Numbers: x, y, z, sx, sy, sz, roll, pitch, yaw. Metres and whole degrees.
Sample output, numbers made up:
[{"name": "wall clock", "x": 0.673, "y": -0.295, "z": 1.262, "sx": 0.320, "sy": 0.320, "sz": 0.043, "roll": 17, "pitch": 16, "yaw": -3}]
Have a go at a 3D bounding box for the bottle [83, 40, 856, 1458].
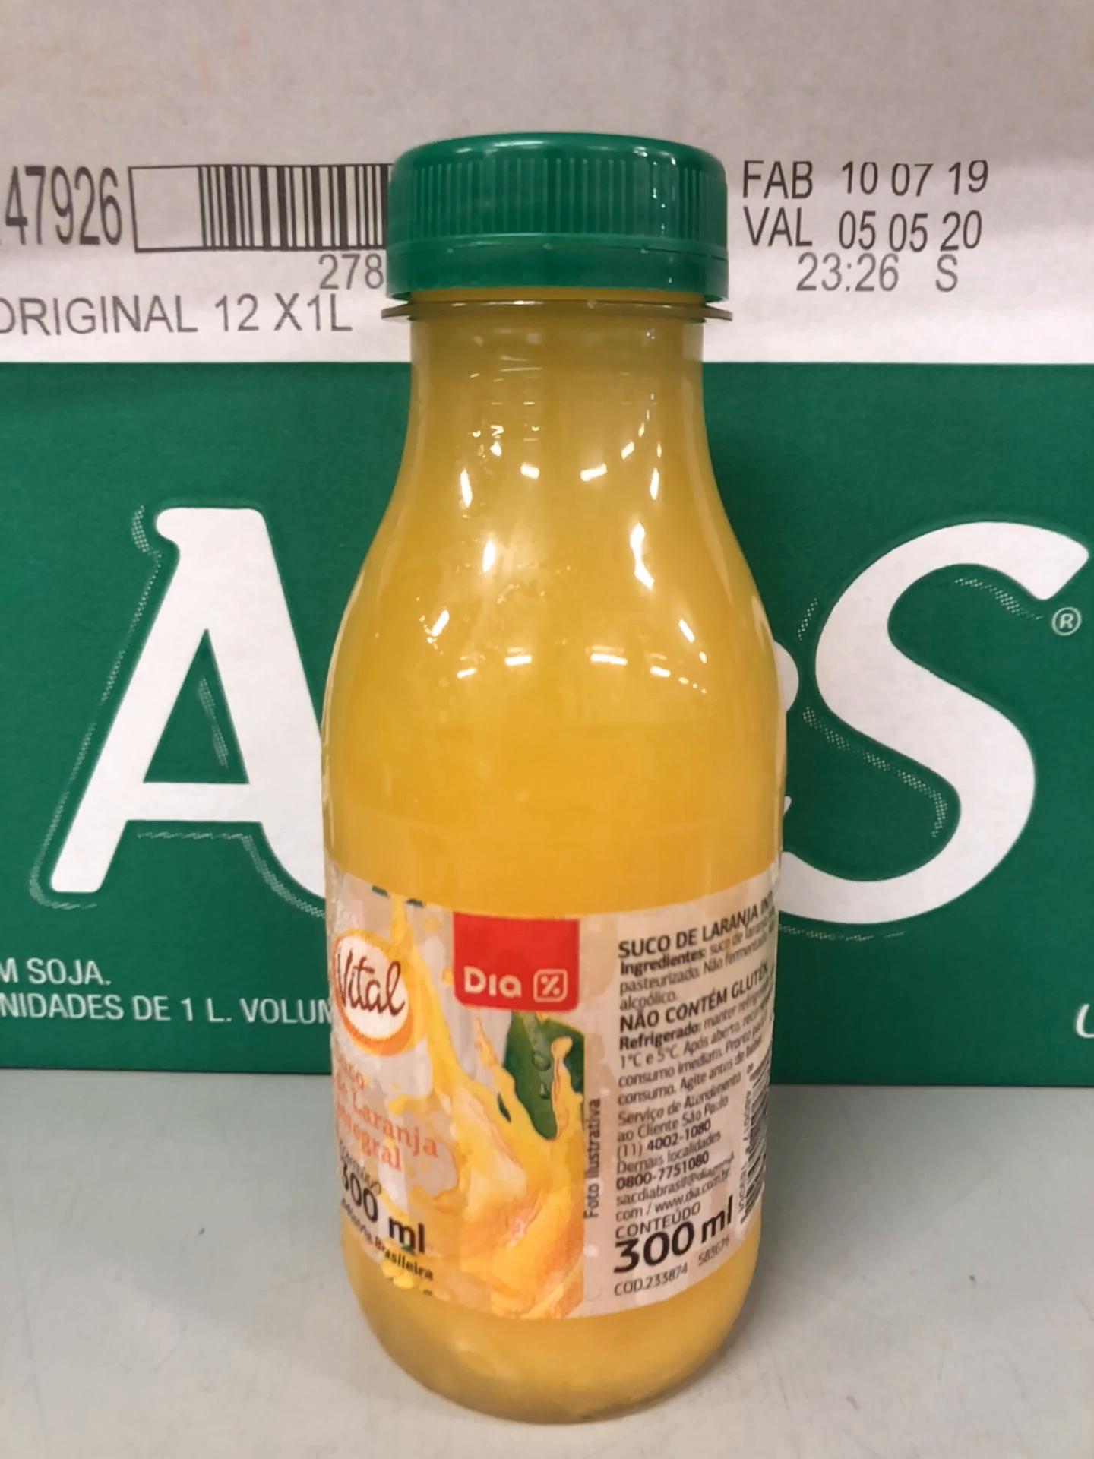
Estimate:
[{"name": "bottle", "x": -0.008, "y": 0.005, "z": 0.169, "sx": 0.070, "sy": 0.159, "sz": 0.060, "roll": 12, "pitch": 21, "yaw": 38}]
